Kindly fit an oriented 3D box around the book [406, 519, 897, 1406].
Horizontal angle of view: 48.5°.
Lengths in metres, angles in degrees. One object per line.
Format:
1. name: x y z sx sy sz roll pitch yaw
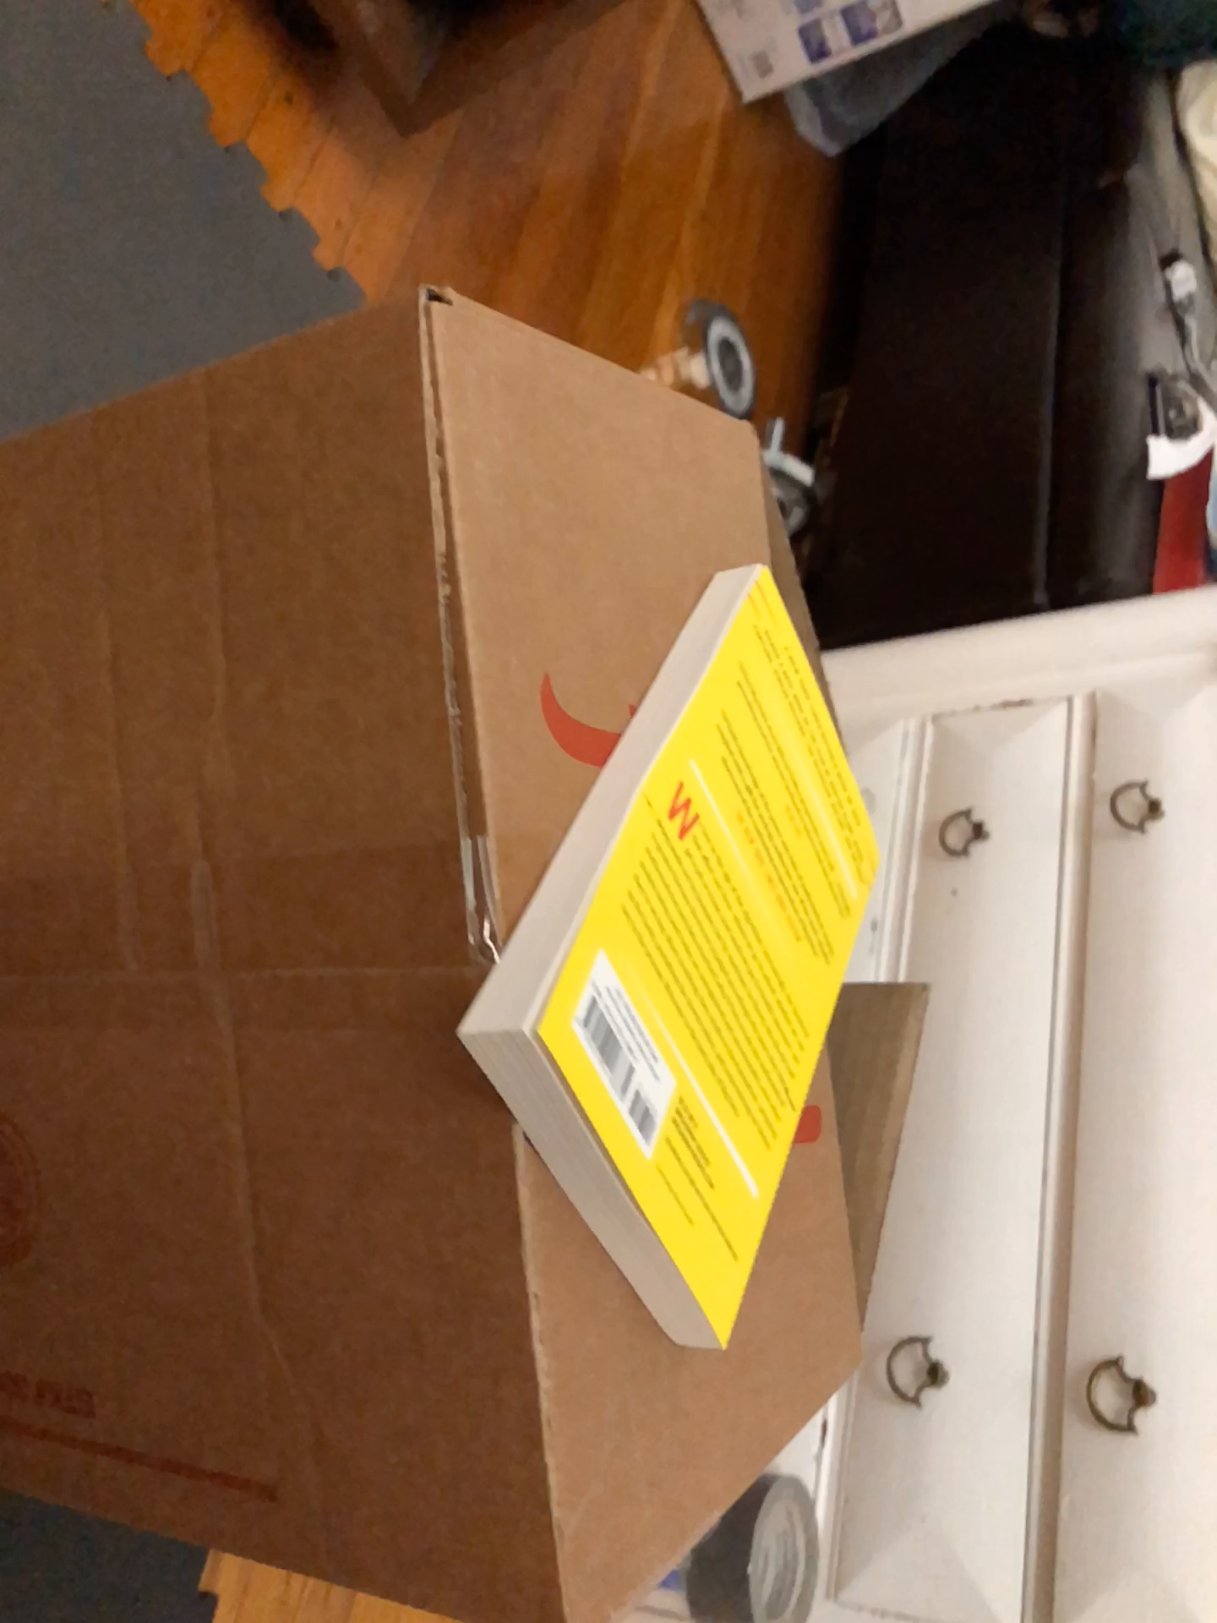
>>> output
1. book: 0.033 0.034 0.408 0.150 0.020 0.221 61 38 -31
